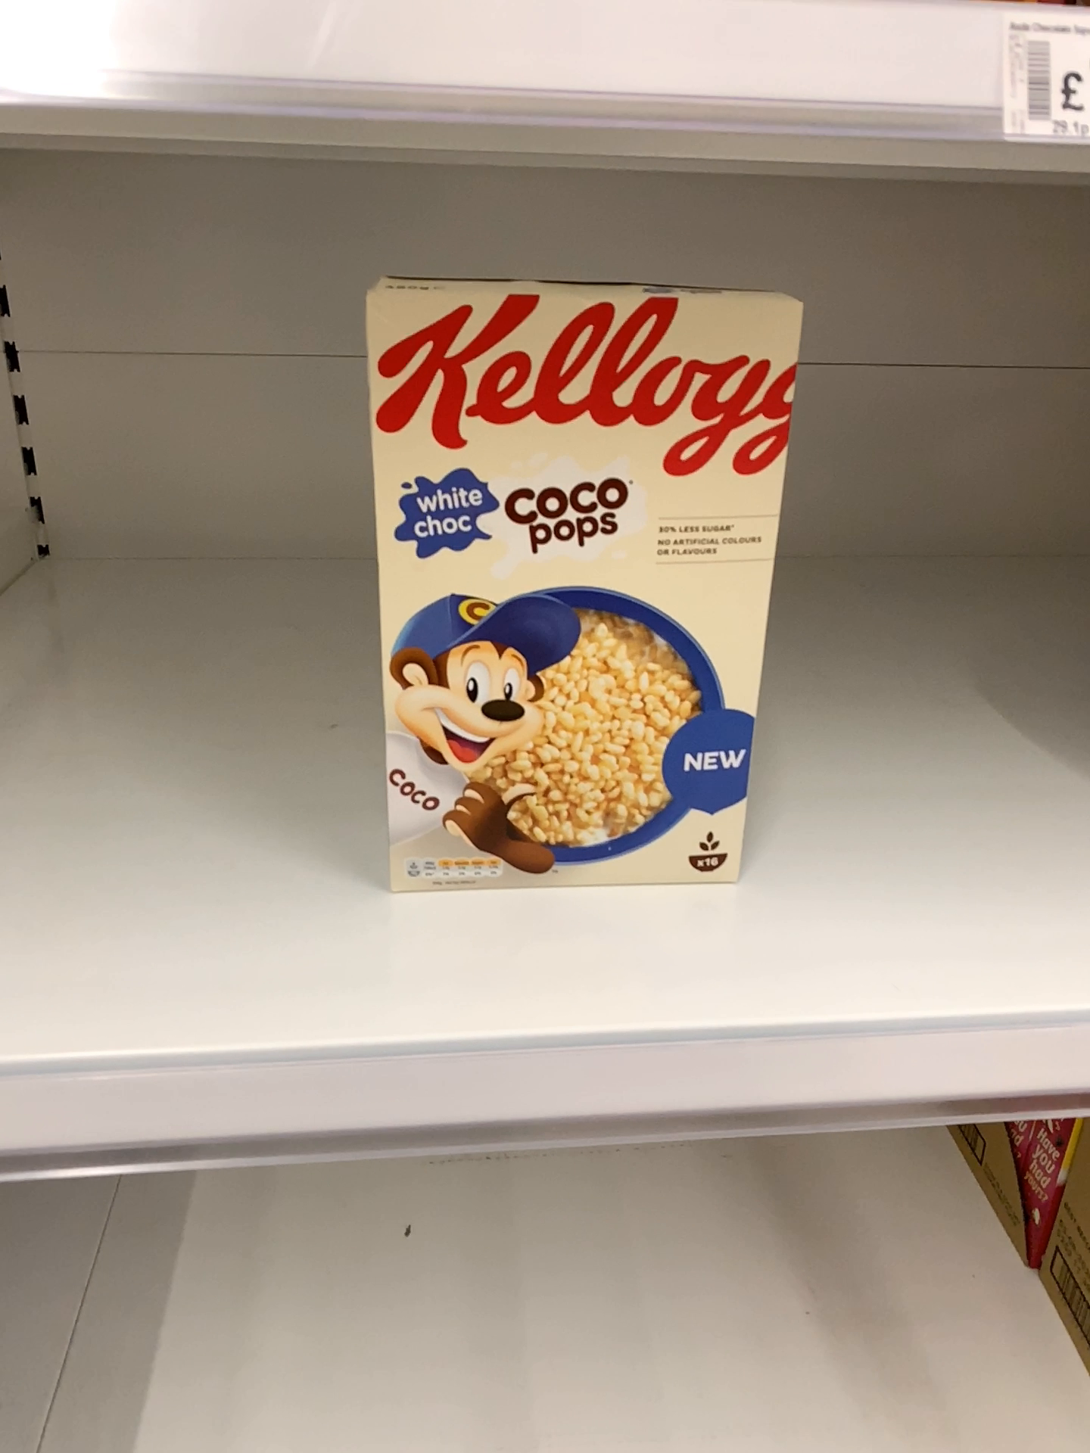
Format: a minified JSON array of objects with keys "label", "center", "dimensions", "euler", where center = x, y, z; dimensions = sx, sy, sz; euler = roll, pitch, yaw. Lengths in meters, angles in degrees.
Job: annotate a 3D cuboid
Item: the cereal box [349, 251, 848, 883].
[{"label":"cereal box","center":[0.021,-0.074,0.552],"dimensions":[0.210,0.298,0.071],"euler":[-2,23,-5]}]
